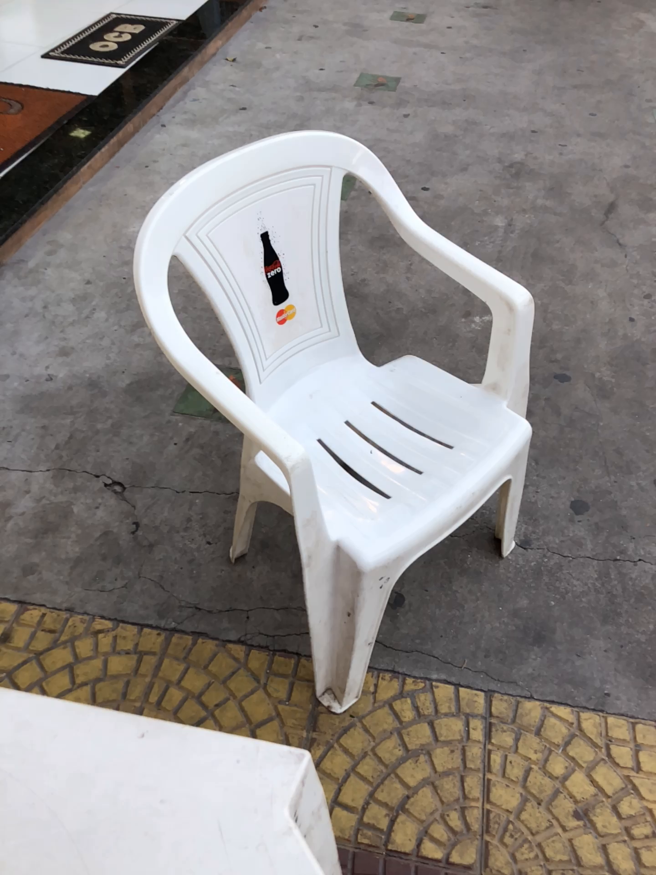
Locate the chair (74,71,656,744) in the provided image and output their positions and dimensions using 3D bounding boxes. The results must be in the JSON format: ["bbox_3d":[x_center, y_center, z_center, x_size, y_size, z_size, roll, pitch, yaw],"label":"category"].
[{"bbox_3d":[0.091,-0.073,1.196,0.643,0.745,0.552,-33,54,-31],"label":"chair"}]
